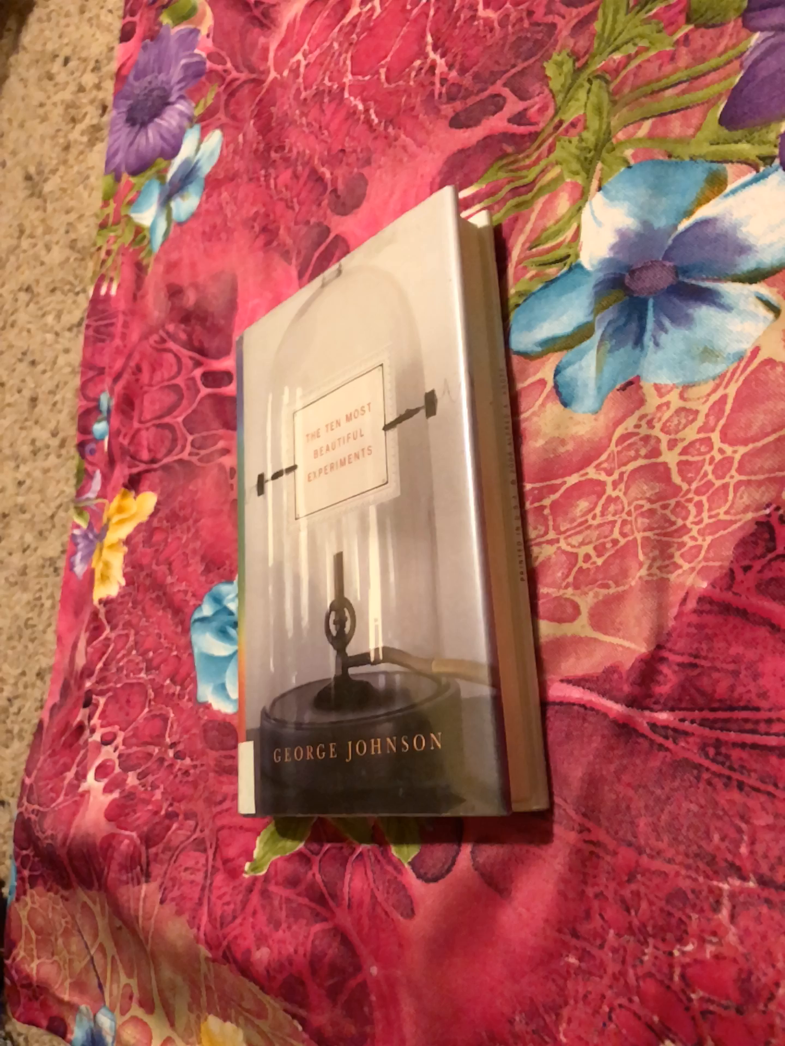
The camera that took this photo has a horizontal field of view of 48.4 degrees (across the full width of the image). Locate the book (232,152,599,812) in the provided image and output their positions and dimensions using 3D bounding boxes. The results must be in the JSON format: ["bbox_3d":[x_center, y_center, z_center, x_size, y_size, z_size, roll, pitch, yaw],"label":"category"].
[{"bbox_3d":[-0.005,-0.004,0.311,0.141,0.030,0.200,-20,66,45],"label":"book"}]
